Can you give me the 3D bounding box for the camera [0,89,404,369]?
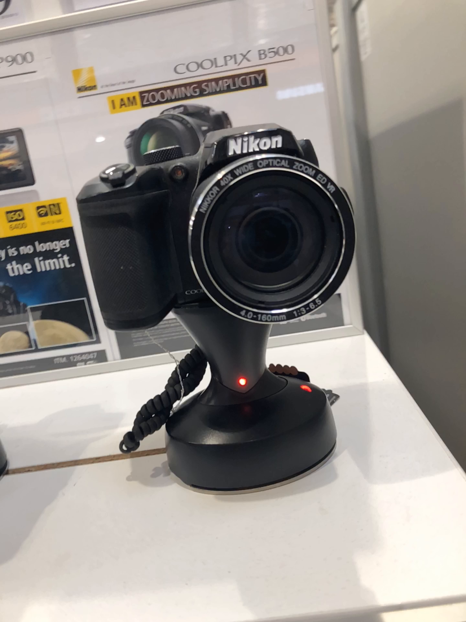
[{"bbox_3d":[-0.009,-0.037,0.215,0.120,0.070,0.100,-10,15,1],"label":"camera"}]
